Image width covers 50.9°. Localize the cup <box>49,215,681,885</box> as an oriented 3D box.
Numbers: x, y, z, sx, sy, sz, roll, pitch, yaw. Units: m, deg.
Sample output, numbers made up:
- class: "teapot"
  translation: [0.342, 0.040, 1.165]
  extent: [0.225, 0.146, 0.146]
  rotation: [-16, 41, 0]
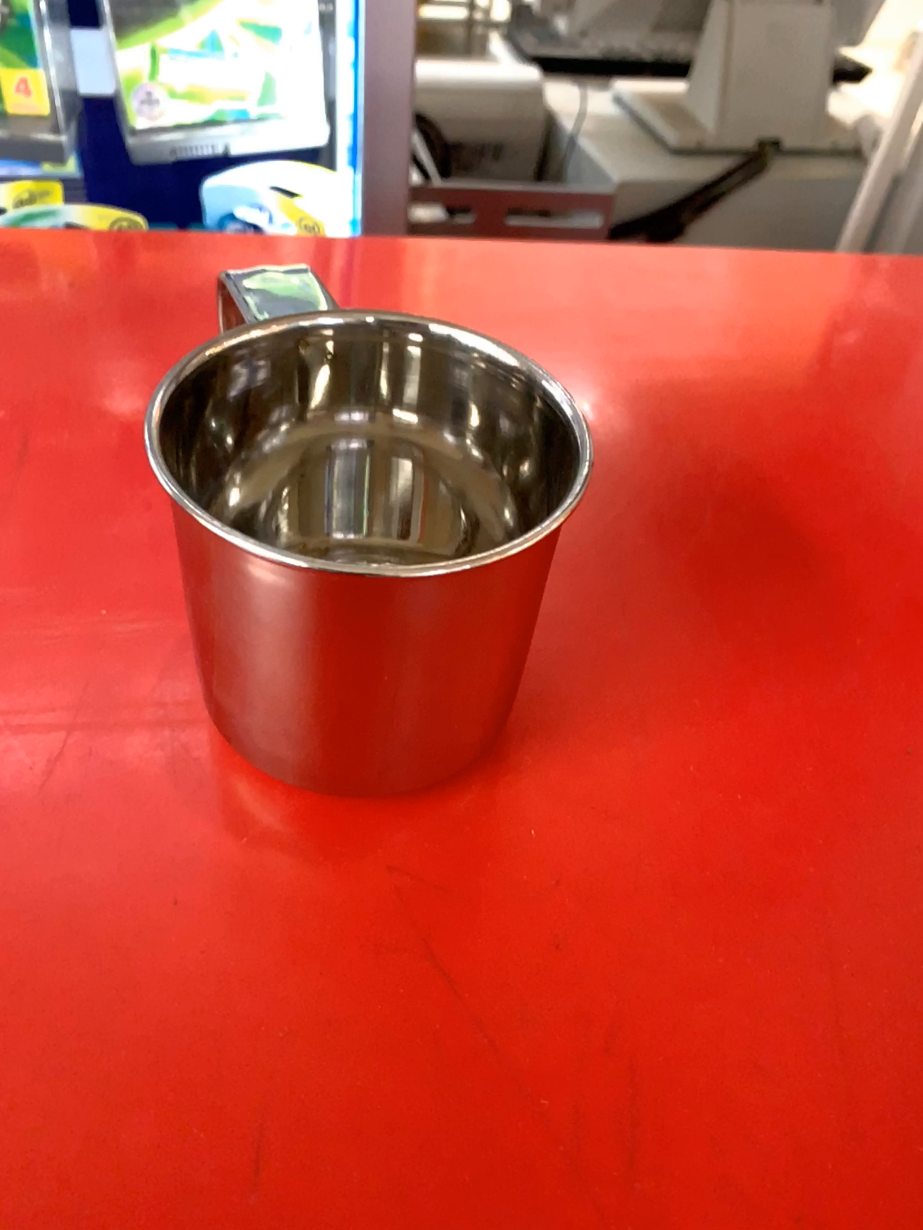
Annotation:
- class: "cup"
  translation: [-0.027, -0.022, 0.194]
  extent: [0.079, 0.065, 0.110]
  rotation: [-13, 48, -20]
